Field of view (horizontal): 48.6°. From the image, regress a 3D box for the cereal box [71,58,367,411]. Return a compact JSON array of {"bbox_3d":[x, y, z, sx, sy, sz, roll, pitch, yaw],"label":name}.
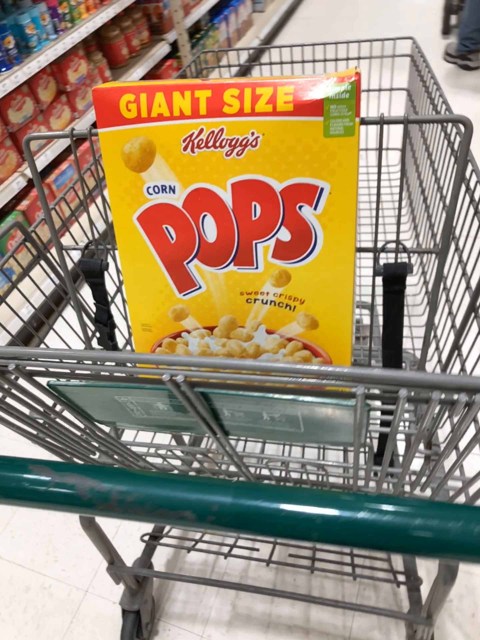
[{"bbox_3d":[-0.006,-0.074,0.543,0.250,0.330,0.080,2,28,12],"label":"cereal box"}]
